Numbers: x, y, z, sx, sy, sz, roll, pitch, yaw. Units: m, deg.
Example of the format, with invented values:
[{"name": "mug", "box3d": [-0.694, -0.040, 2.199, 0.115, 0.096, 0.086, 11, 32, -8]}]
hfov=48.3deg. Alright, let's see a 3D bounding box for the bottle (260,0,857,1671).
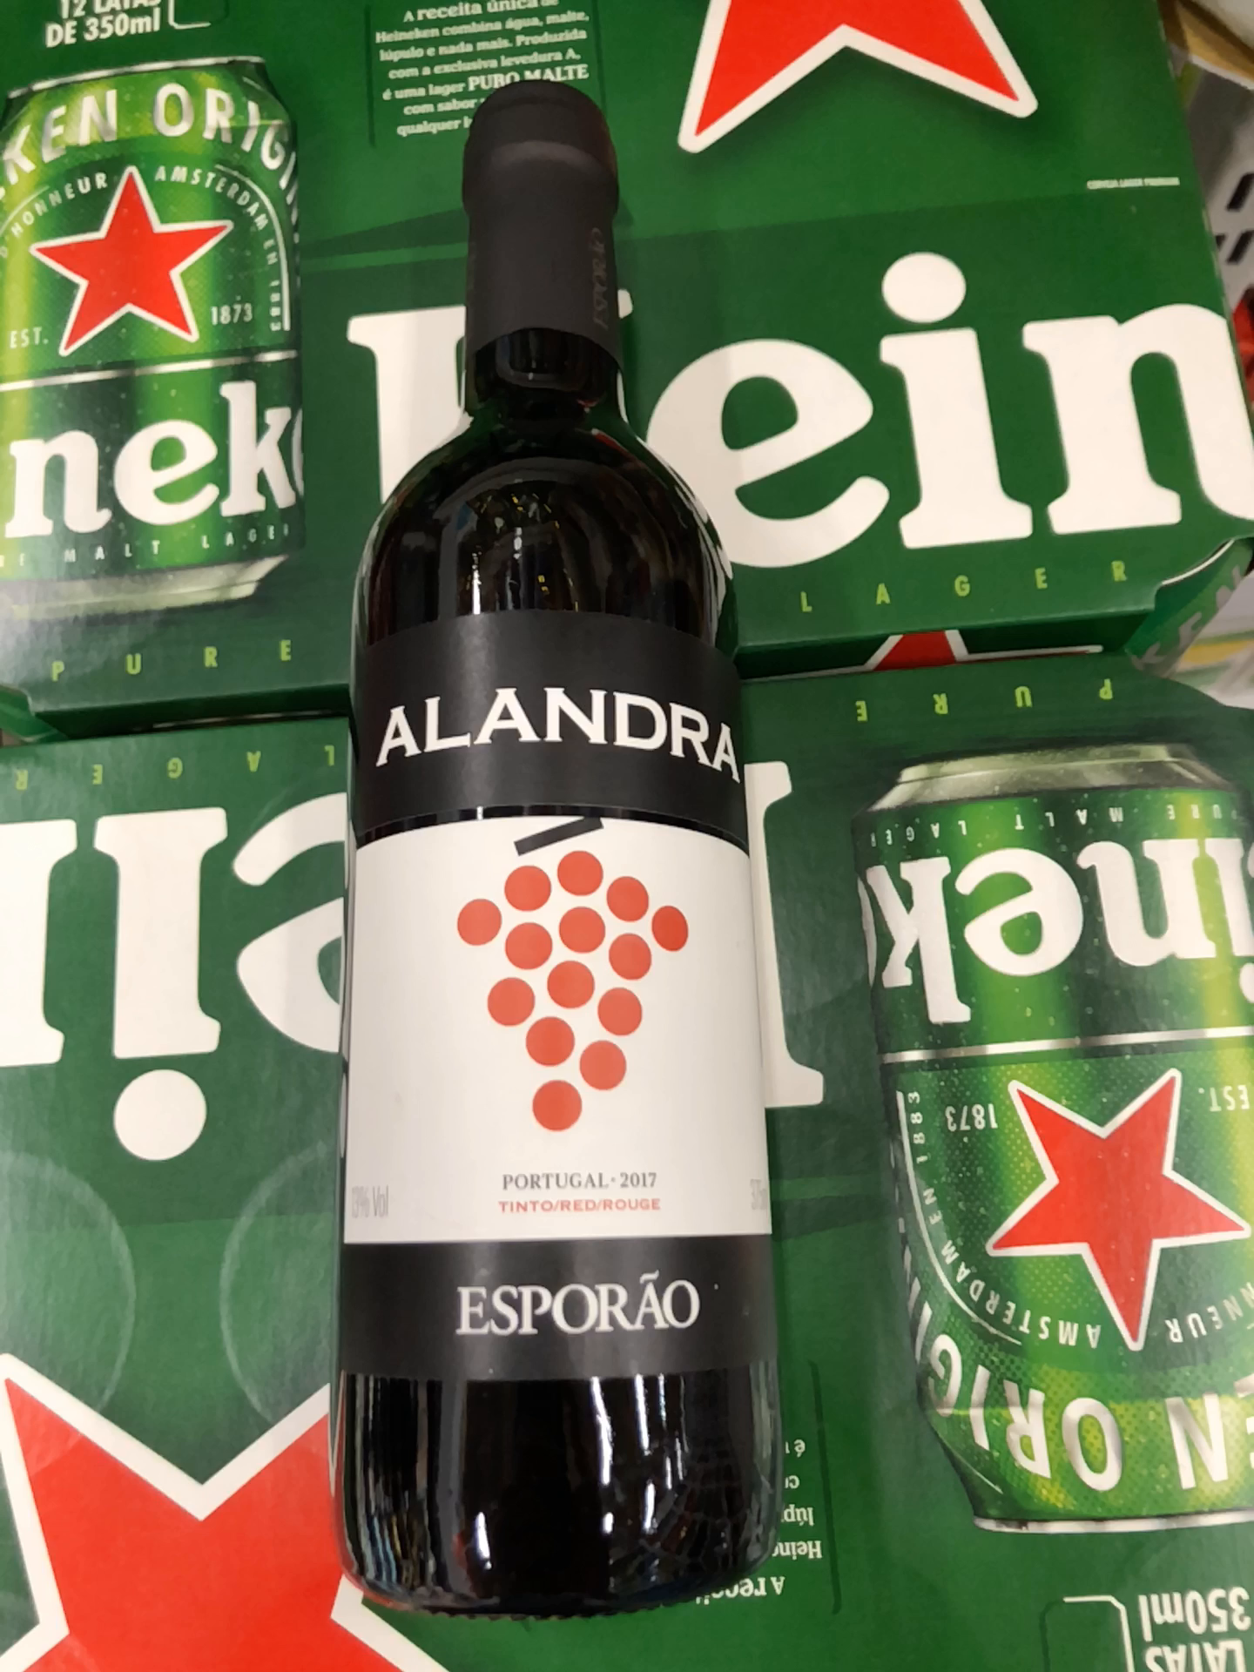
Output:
[{"name": "bottle", "box3d": [-0.015, -0.023, 0.202, 0.060, 0.060, 0.240, 0, 74, -9]}]
